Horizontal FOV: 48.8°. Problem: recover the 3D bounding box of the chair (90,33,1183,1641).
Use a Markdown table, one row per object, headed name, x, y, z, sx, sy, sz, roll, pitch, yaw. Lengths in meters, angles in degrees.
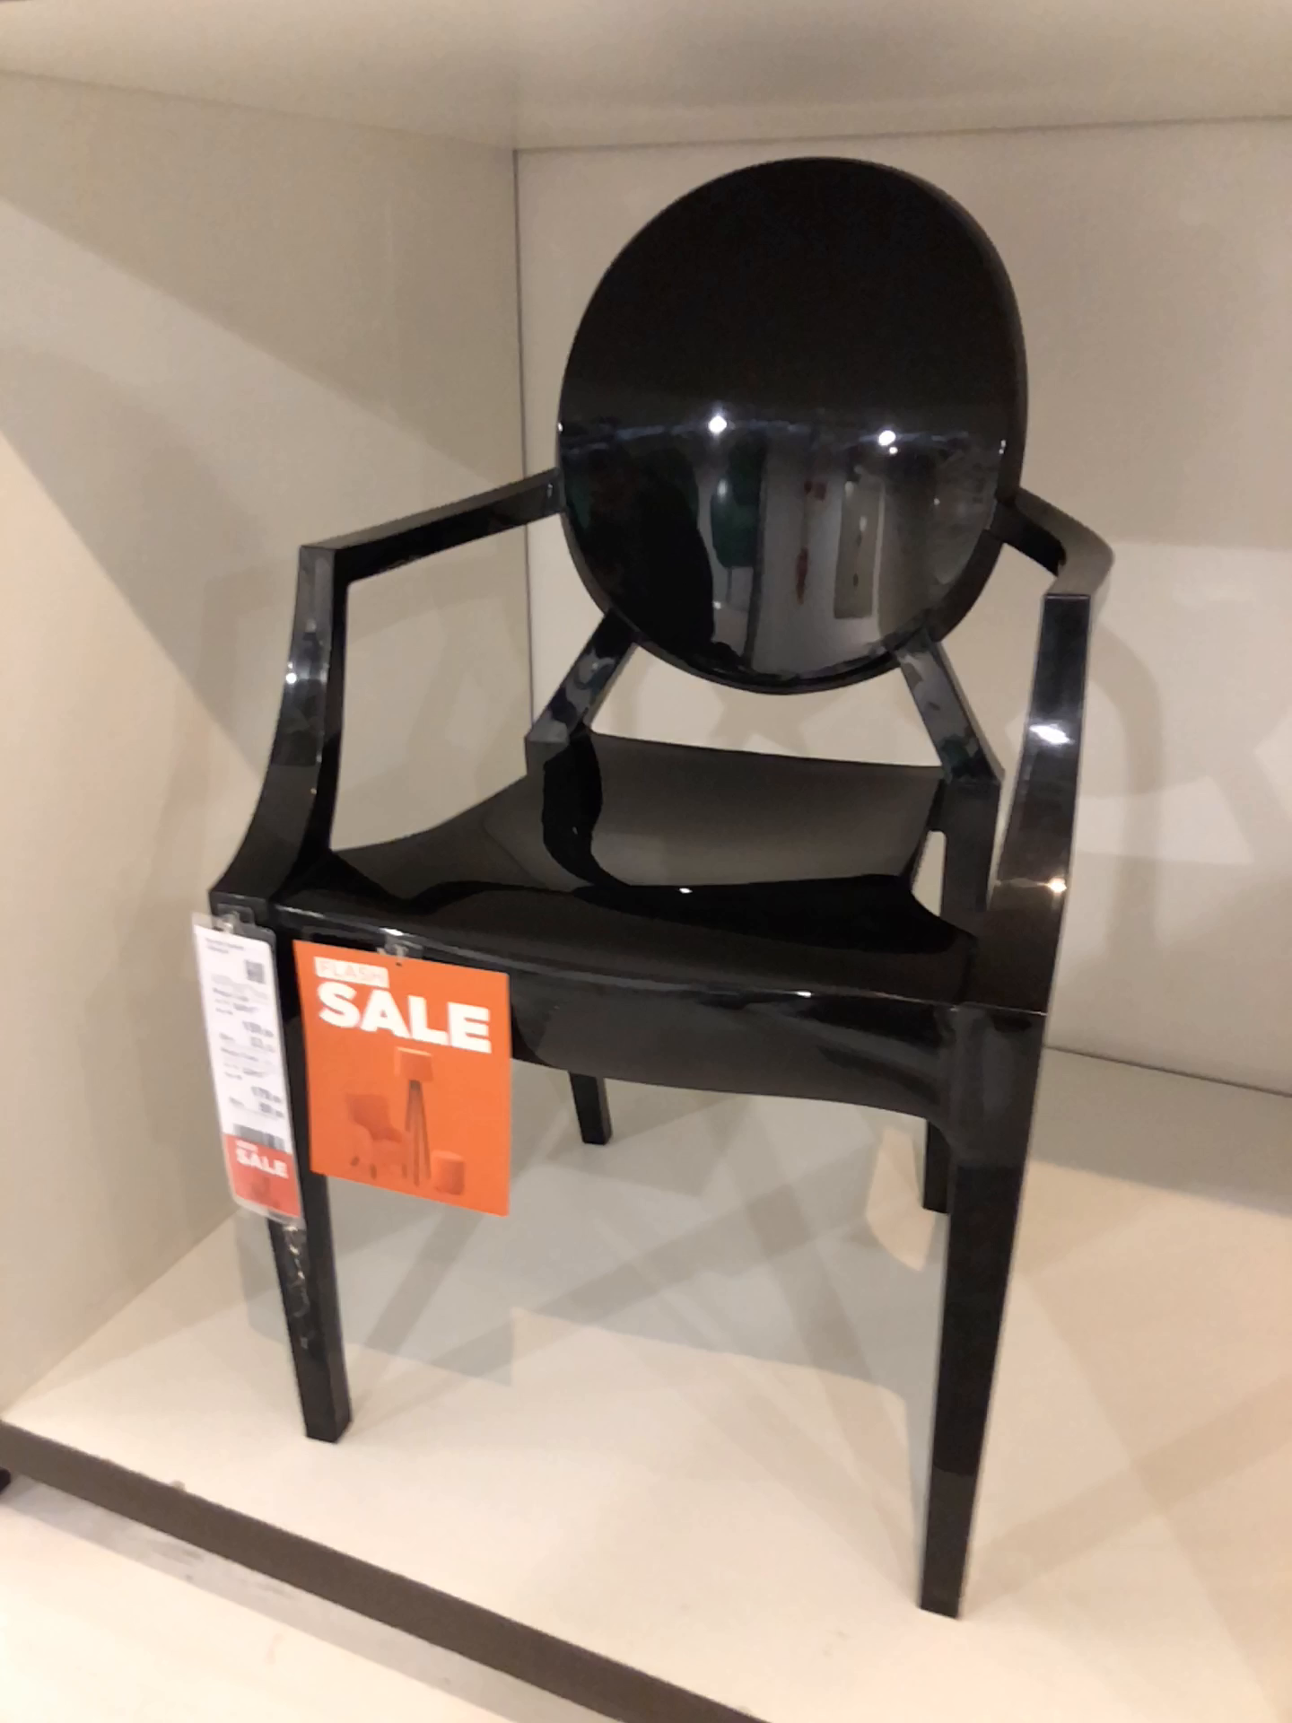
| name | x | y | z | sx | sy | sz | roll | pitch | yaw |
| --- | --- | --- | --- | --- | --- | --- | --- | --- | --- |
| chair | 0.051 | -0.043 | 0.999 | 0.510 | 0.854 | 0.493 | 7 | 23 | 18 |
